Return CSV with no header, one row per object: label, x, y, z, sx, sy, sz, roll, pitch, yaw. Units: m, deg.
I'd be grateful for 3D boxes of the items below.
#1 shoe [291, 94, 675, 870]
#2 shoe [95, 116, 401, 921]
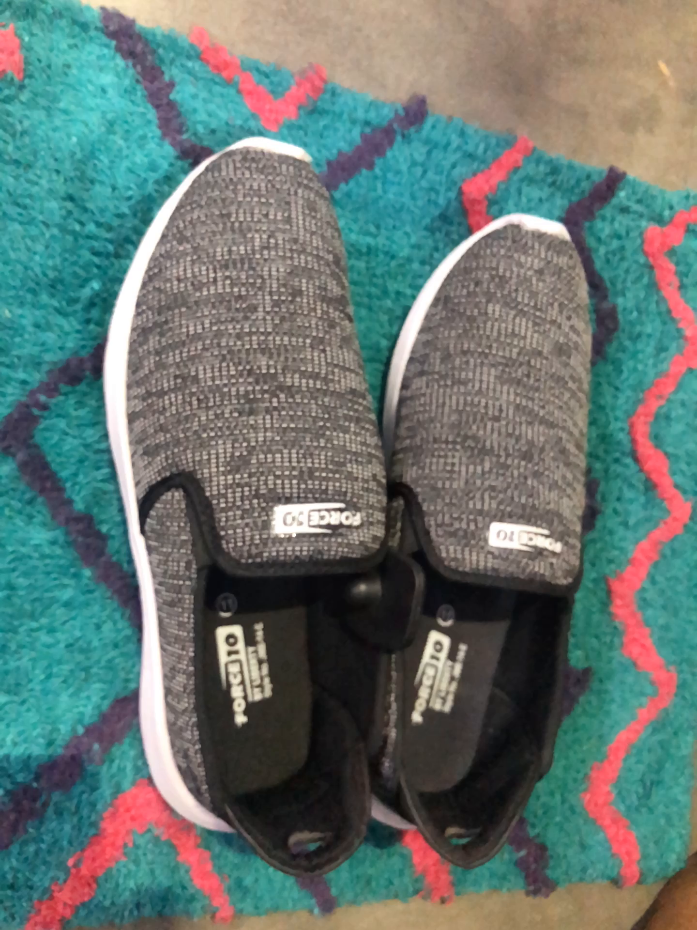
shoe,0.063,0.011,0.394,0.110,0.100,0.330,10,86,-19
shoe,-0.051,0.019,0.357,0.110,0.100,0.300,-2,90,-20
